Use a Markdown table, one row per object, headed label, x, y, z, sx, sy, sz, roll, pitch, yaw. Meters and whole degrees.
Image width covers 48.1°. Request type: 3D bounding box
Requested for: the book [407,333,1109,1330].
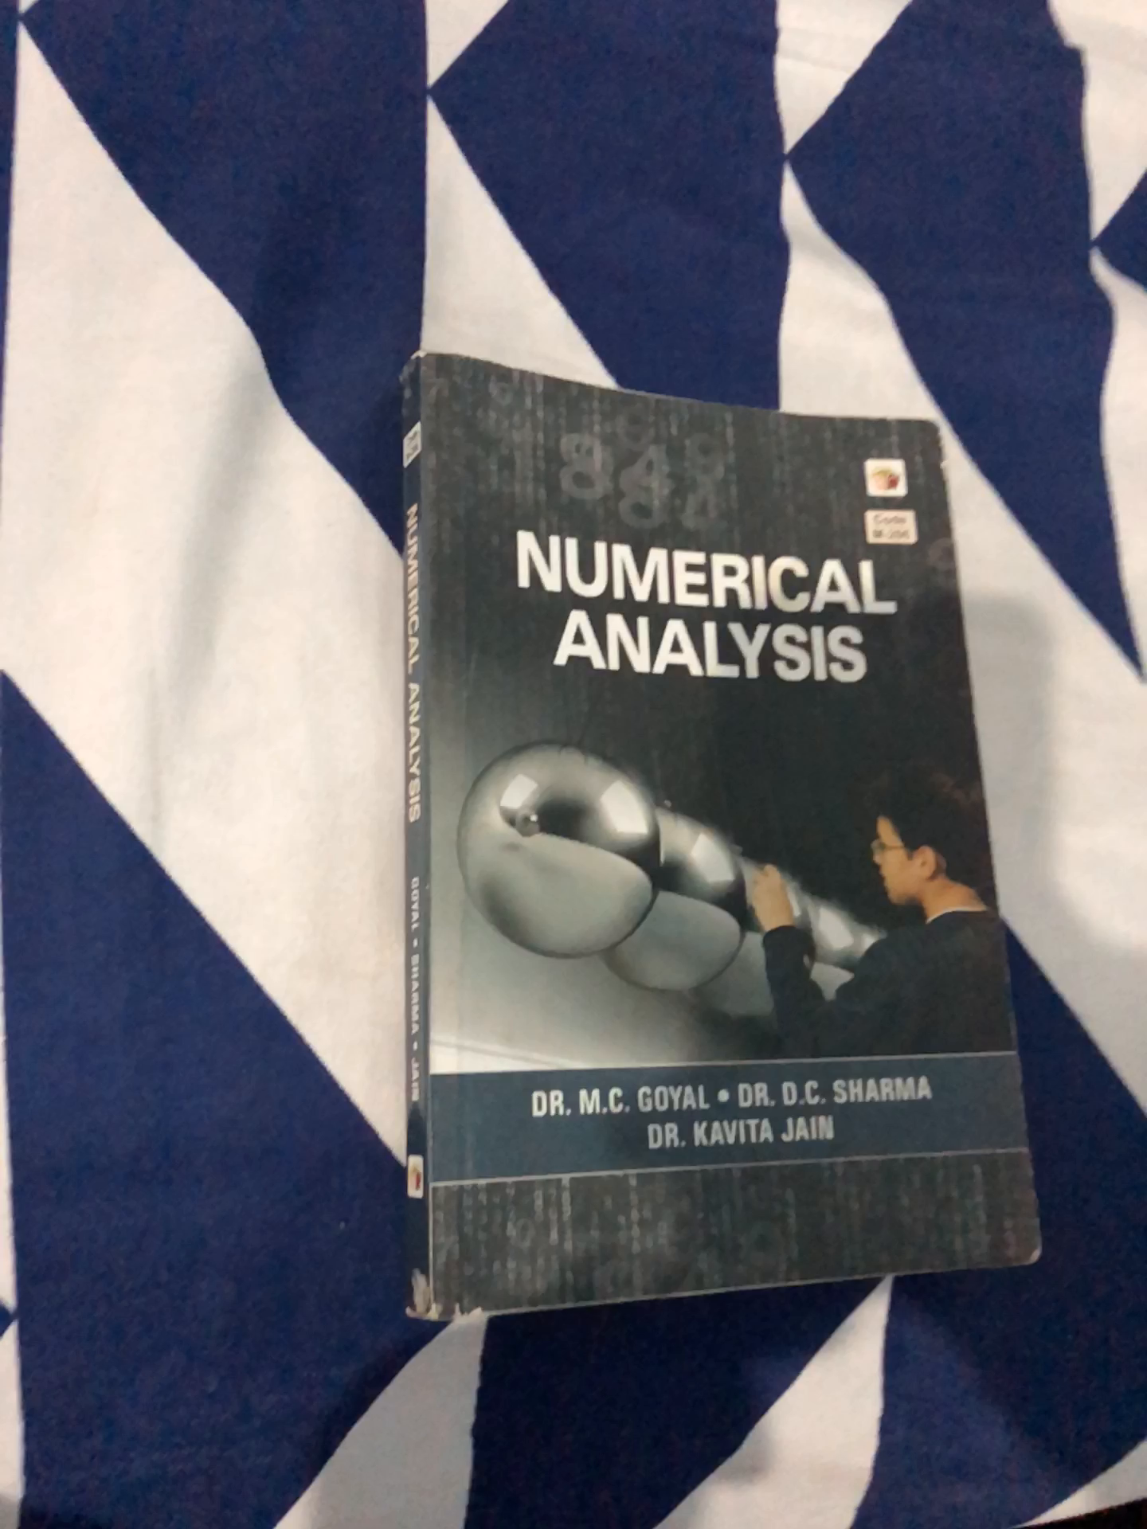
| label | x | y | z | sx | sy | sz | roll | pitch | yaw |
| --- | --- | --- | --- | --- | --- | --- | --- | --- | --- |
| book | 0.036 | 0.011 | 0.277 | 0.140 | 0.030 | 0.190 | 2 | 78 | -17 |
